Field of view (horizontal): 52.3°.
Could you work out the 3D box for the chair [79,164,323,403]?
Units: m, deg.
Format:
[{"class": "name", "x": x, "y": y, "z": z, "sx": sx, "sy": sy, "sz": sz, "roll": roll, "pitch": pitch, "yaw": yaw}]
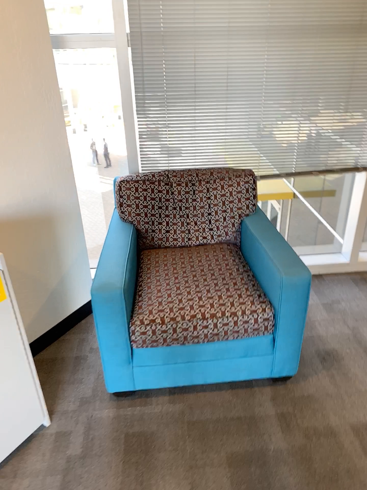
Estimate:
[{"class": "chair", "x": 0.050, "y": 0.130, "z": 1.987, "sx": 0.910, "sy": 0.825, "sz": 0.925, "roll": -4, "pitch": 28, "yaw": -3}]
